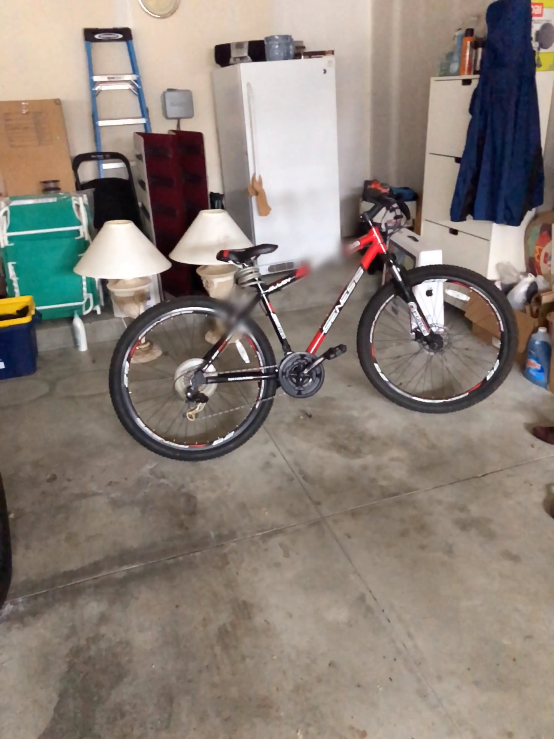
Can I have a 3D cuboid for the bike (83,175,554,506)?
[{"bbox_3d":[0.182,-0.159,2.496,1.668,1.054,0.592,-7,24,-8],"label":"bike"}]
